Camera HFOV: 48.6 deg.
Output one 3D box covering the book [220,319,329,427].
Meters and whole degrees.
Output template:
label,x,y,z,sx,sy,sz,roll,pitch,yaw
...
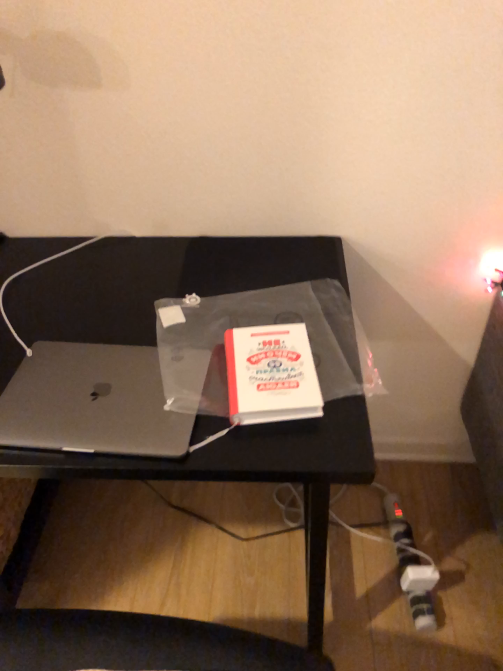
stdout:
label,x,y,z,sx,sy,sz,roll,pitch,yaw
book,0.029,0.051,0.863,0.140,0.030,0.191,-5,40,-4
